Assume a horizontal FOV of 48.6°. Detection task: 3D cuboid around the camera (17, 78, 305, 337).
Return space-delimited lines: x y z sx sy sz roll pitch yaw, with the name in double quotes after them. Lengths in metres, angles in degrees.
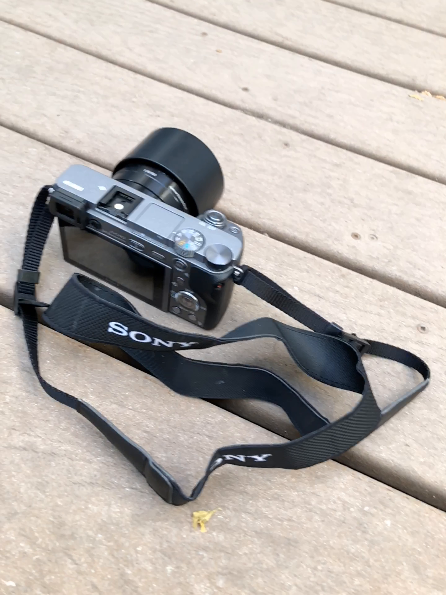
-0.034 -0.062 0.318 0.130 0.070 0.110 25 54 10 "camera"
